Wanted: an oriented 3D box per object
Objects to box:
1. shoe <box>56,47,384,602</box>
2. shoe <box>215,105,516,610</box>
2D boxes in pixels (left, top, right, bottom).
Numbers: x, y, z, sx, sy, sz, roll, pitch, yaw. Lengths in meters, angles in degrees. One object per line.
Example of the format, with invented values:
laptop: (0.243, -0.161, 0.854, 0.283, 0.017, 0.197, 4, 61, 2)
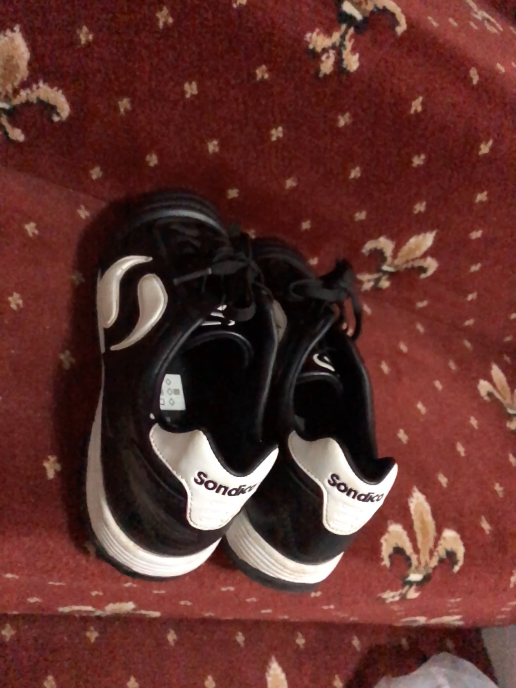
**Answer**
shoe: (-0.031, -0.028, 0.328, 0.100, 0.099, 0.301, 17, 47, -27)
shoe: (0.042, -0.010, 0.365, 0.100, 0.099, 0.302, 19, 46, -25)
